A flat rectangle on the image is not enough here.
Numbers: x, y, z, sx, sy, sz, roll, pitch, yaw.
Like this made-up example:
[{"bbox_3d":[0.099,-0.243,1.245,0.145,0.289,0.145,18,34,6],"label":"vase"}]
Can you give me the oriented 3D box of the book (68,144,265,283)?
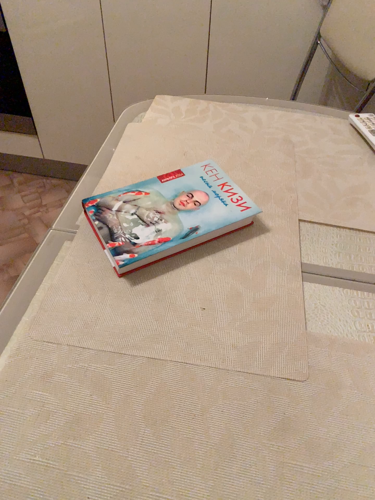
[{"bbox_3d":[-0.029,-0.060,0.512,0.210,0.040,0.151,-21,52,-20],"label":"book"}]
